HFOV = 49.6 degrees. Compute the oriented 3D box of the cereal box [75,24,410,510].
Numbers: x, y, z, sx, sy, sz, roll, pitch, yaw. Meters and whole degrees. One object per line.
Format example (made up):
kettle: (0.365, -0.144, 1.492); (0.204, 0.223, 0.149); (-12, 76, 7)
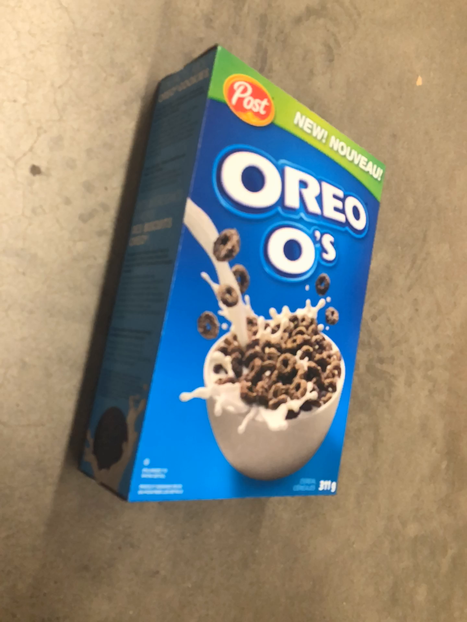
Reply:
cereal box: (0.025, -0.012, 0.375); (0.211, 0.070, 0.280); (15, 82, -39)
